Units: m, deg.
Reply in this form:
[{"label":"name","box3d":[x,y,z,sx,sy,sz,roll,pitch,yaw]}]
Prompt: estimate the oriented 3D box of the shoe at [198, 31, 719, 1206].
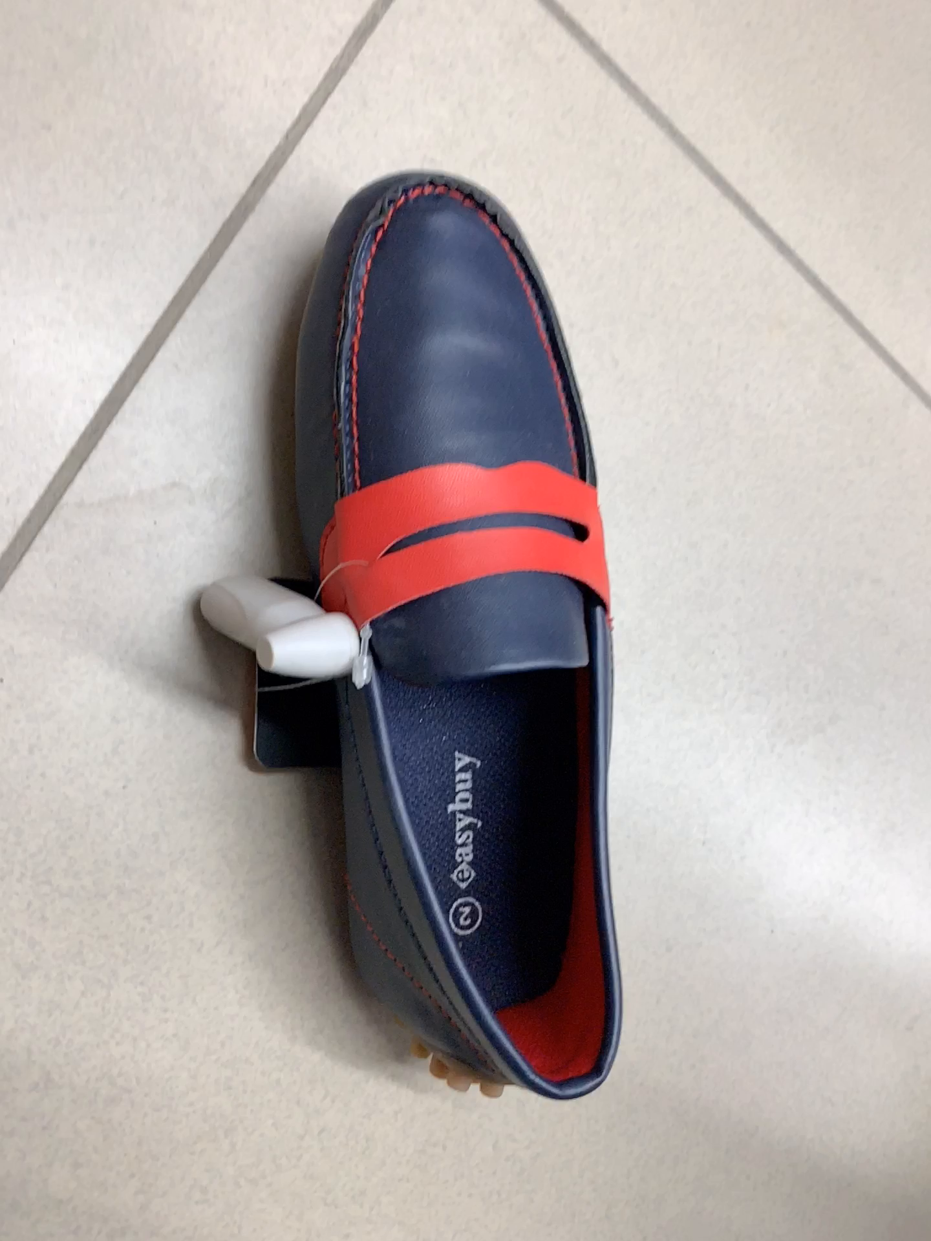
[{"label":"shoe","box3d":[-0.001,-0.002,0.205,0.080,0.050,0.200,-6,91,-29]}]
